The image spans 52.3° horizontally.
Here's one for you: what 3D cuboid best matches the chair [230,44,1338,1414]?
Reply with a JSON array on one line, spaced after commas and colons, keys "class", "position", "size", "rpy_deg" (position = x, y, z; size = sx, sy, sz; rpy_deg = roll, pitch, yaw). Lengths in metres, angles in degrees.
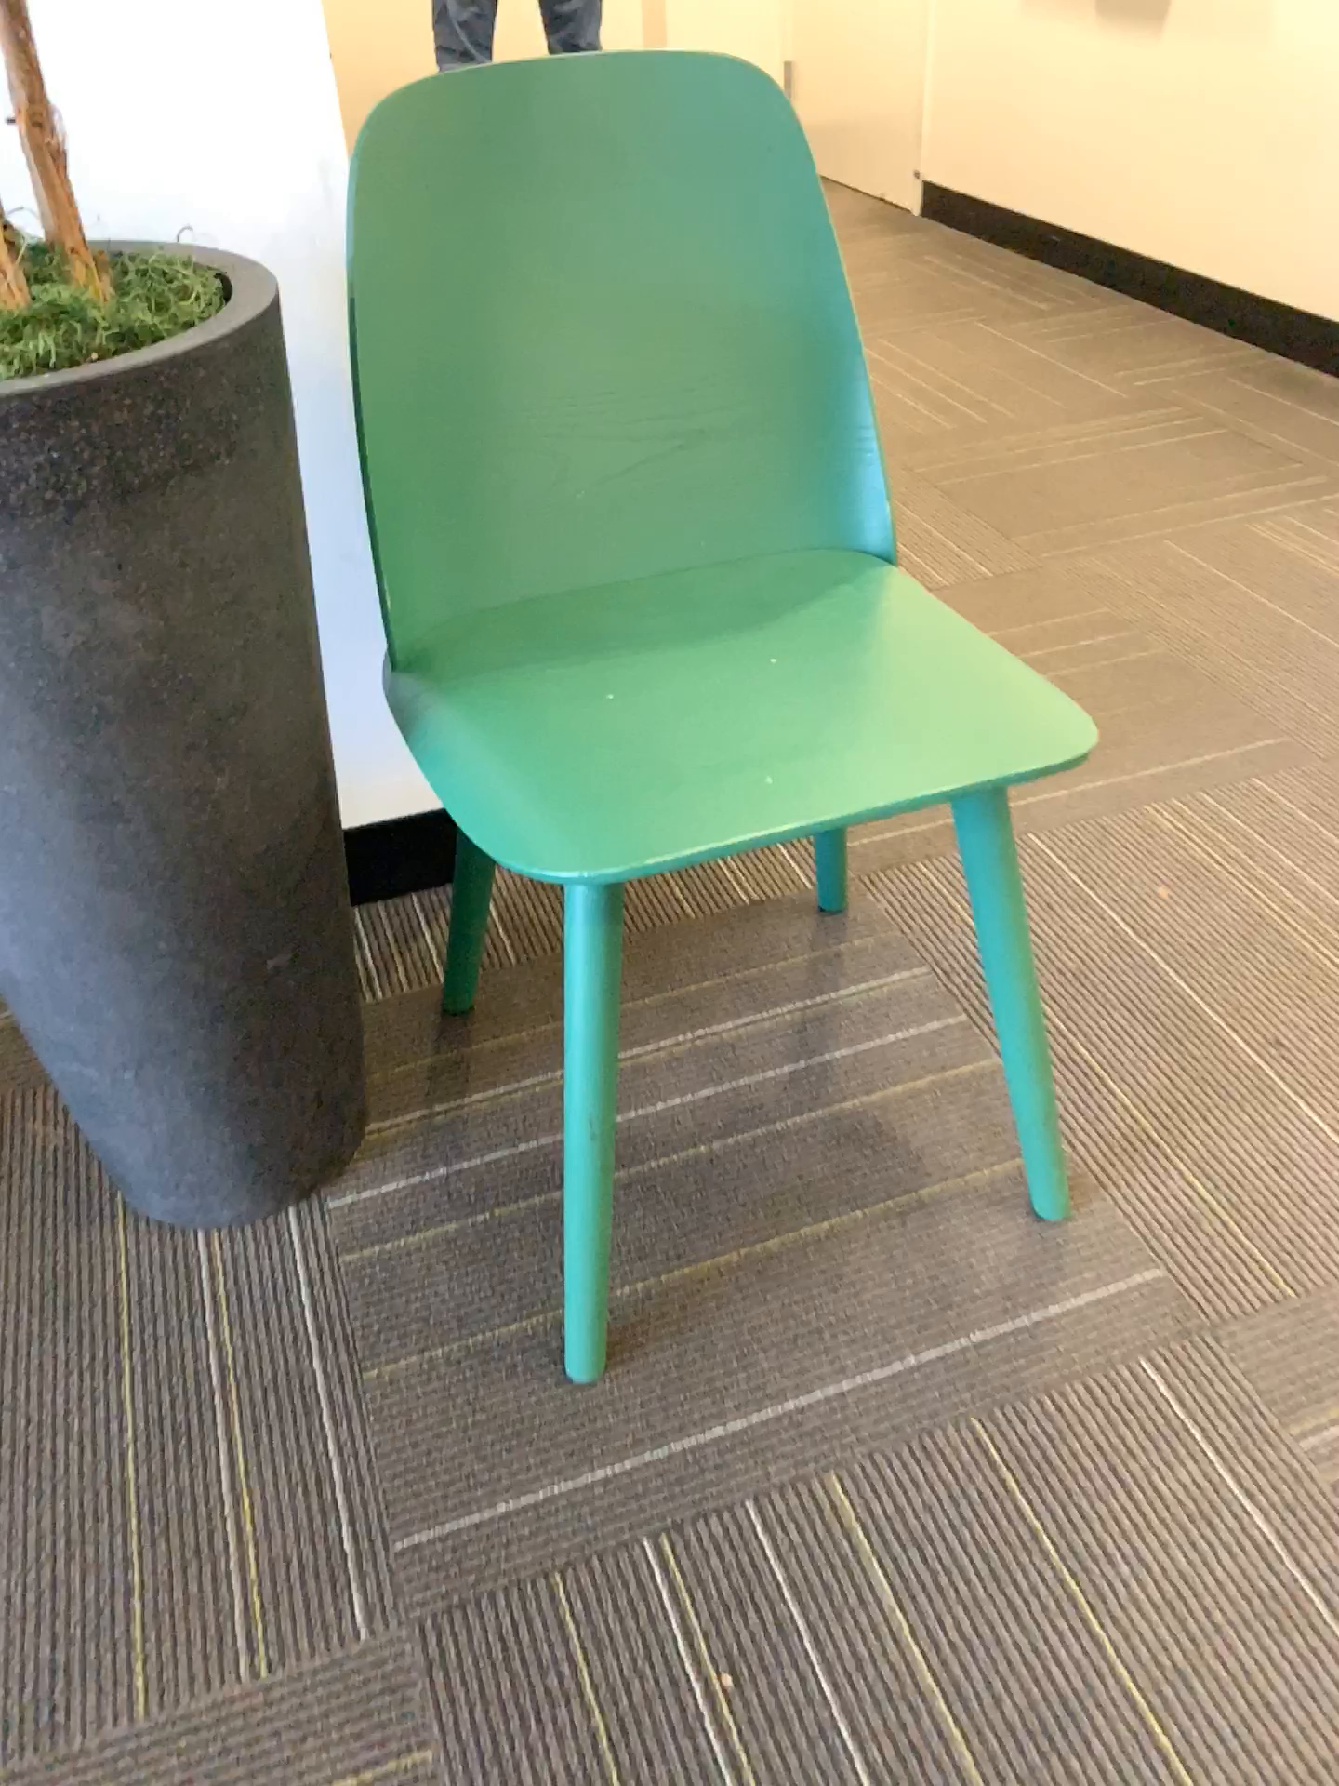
[{"class": "chair", "position": [-0.011, -0.180, 0.955], "size": [0.390, 0.626, 0.715], "rpy_deg": [-13, 38, -13]}]
